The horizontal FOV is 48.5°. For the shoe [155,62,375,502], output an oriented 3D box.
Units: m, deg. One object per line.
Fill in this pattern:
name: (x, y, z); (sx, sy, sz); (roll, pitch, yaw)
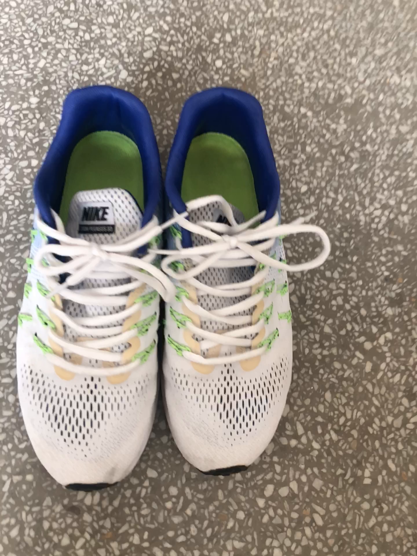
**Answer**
shoe: (0.022, 0.000, 0.341); (0.111, 0.114, 0.275); (-1, 73, -9)

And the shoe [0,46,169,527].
shoe: (-0.089, 0.001, 0.323); (0.113, 0.114, 0.282); (0, 73, -8)
